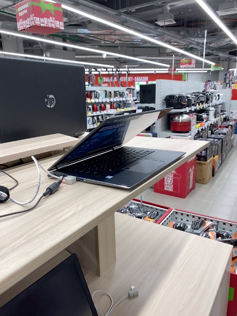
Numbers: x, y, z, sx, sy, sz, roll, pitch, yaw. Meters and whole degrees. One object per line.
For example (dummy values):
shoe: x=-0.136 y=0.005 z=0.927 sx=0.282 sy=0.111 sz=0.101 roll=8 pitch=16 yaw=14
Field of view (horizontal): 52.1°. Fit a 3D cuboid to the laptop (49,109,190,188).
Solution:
laptop: x=0.024 y=-0.053 z=0.631 sx=0.217 sy=0.128 sz=0.321 roll=8 pitch=17 yaw=33
